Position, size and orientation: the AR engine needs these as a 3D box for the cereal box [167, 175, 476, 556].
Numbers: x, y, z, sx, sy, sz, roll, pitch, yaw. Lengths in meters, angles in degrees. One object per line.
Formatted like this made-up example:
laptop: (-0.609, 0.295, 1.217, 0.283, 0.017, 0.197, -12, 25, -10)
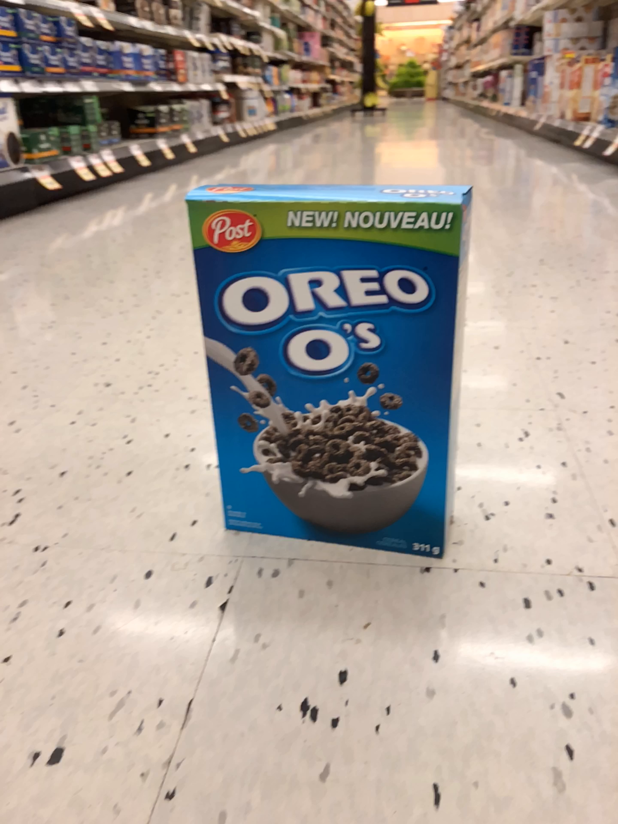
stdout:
cereal box: (0.013, -0.034, 0.518, 0.200, 0.269, 0.060, 5, 25, 15)
